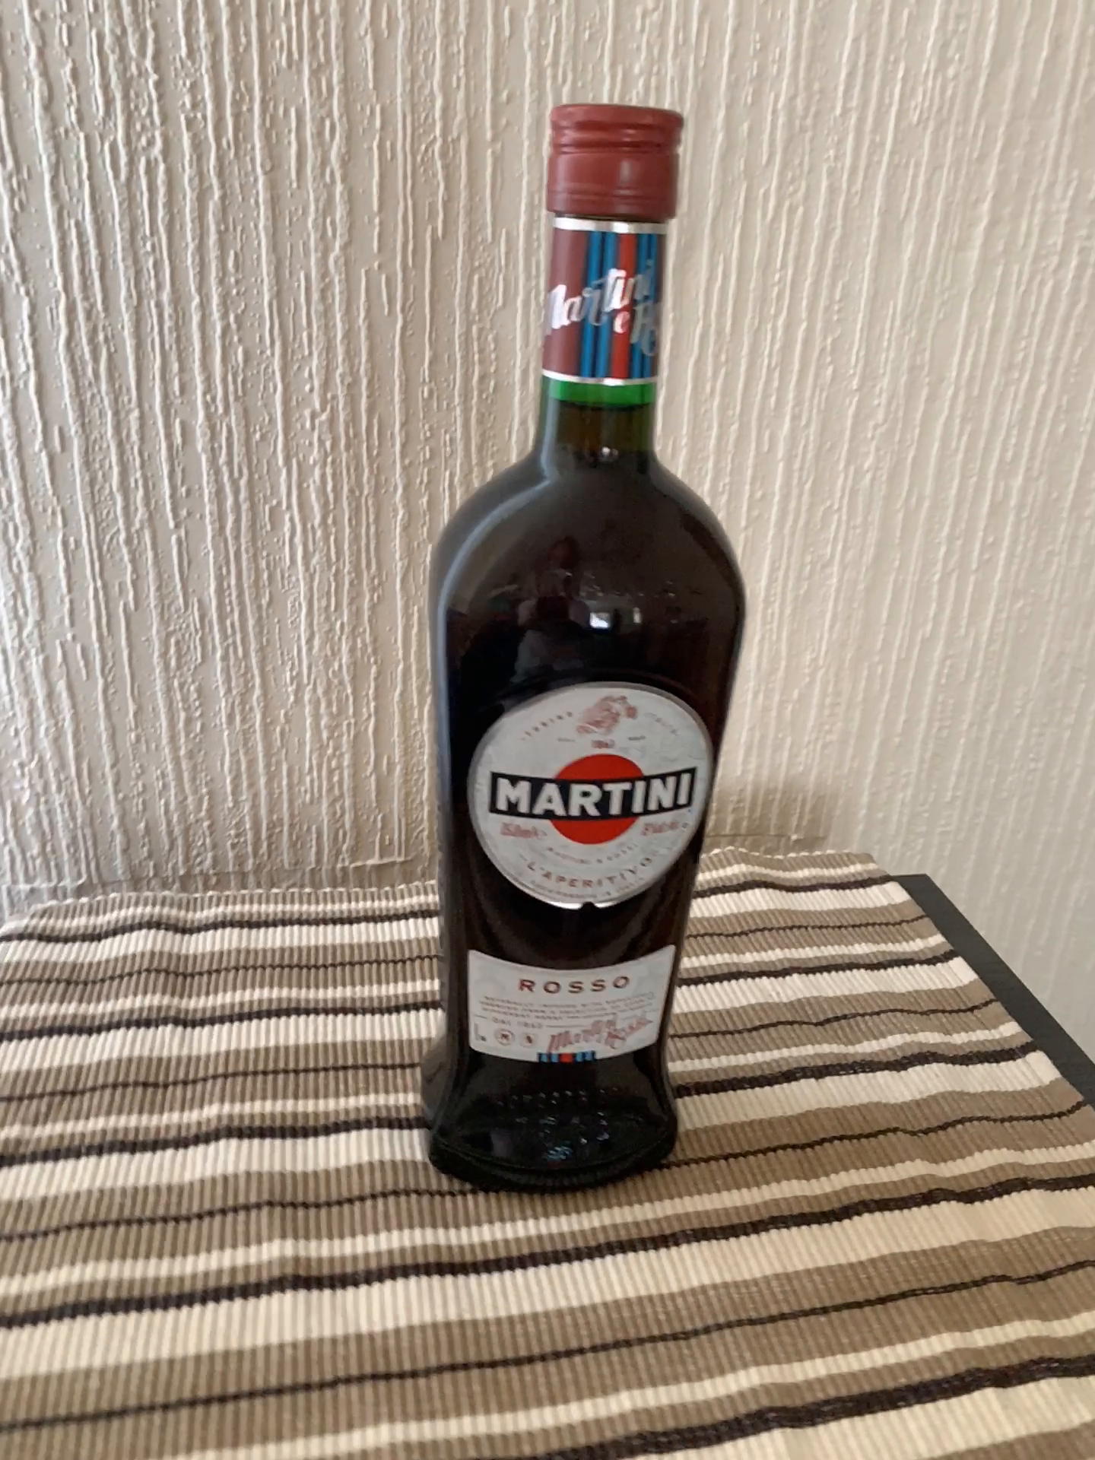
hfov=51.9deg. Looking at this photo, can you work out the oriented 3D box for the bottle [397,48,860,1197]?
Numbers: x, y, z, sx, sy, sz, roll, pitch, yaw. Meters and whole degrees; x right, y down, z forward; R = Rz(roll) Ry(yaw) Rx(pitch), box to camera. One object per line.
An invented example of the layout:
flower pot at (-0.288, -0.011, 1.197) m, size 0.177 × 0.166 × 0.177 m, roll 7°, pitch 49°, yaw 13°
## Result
bottle at (0.006, -0.008, 0.310) m, size 0.090 × 0.297 × 0.061 m, roll -1°, pitch 25°, yaw -10°
